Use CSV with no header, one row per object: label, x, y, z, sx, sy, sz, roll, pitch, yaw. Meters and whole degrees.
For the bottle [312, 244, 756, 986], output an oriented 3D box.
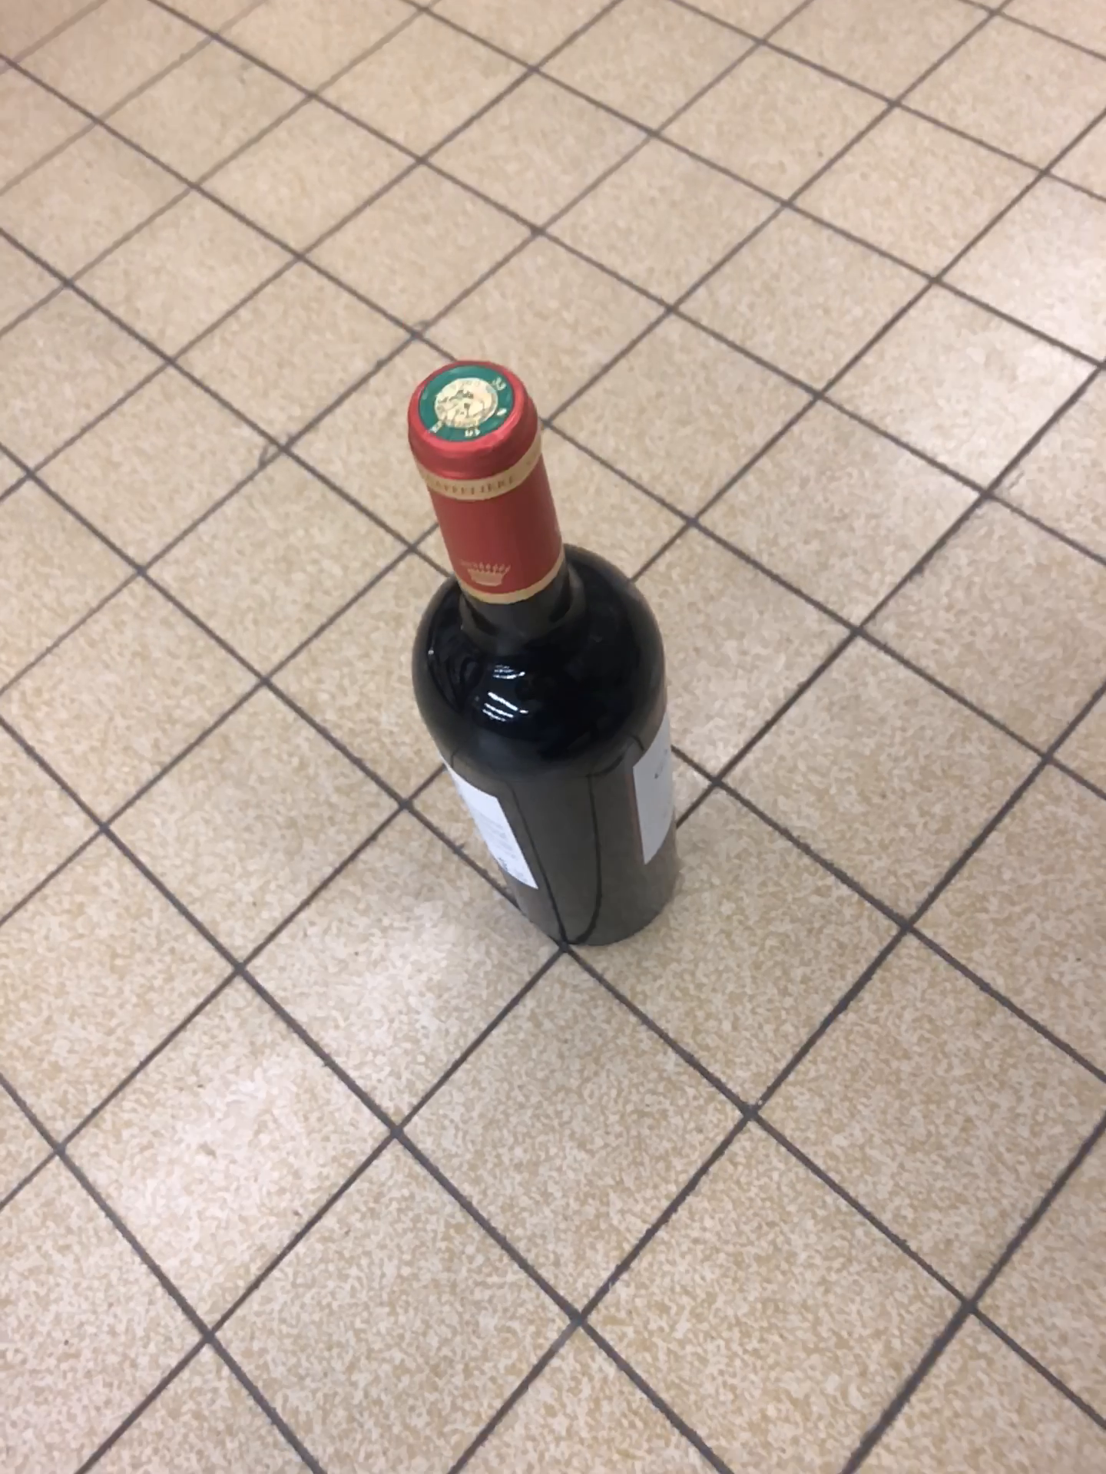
bottle,0.008,-0.006,0.394,0.090,0.288,0.090,-3,63,6
